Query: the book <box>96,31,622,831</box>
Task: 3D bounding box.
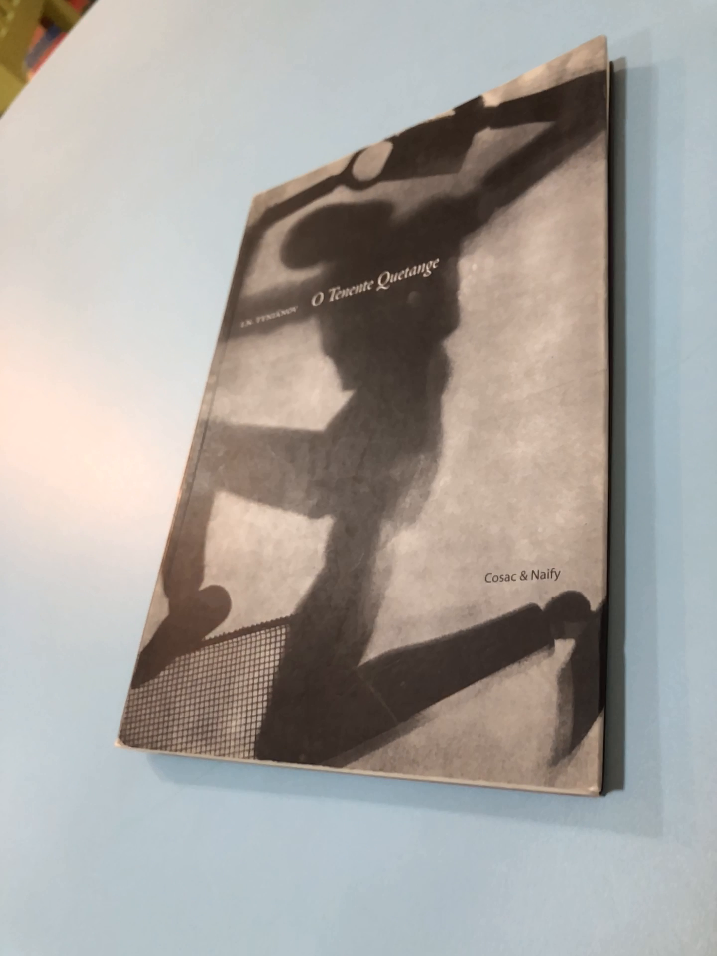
[{"bbox_3d":[0.002,-0.019,0.222,0.135,0.016,0.197,-9,62,35],"label":"book"}]
